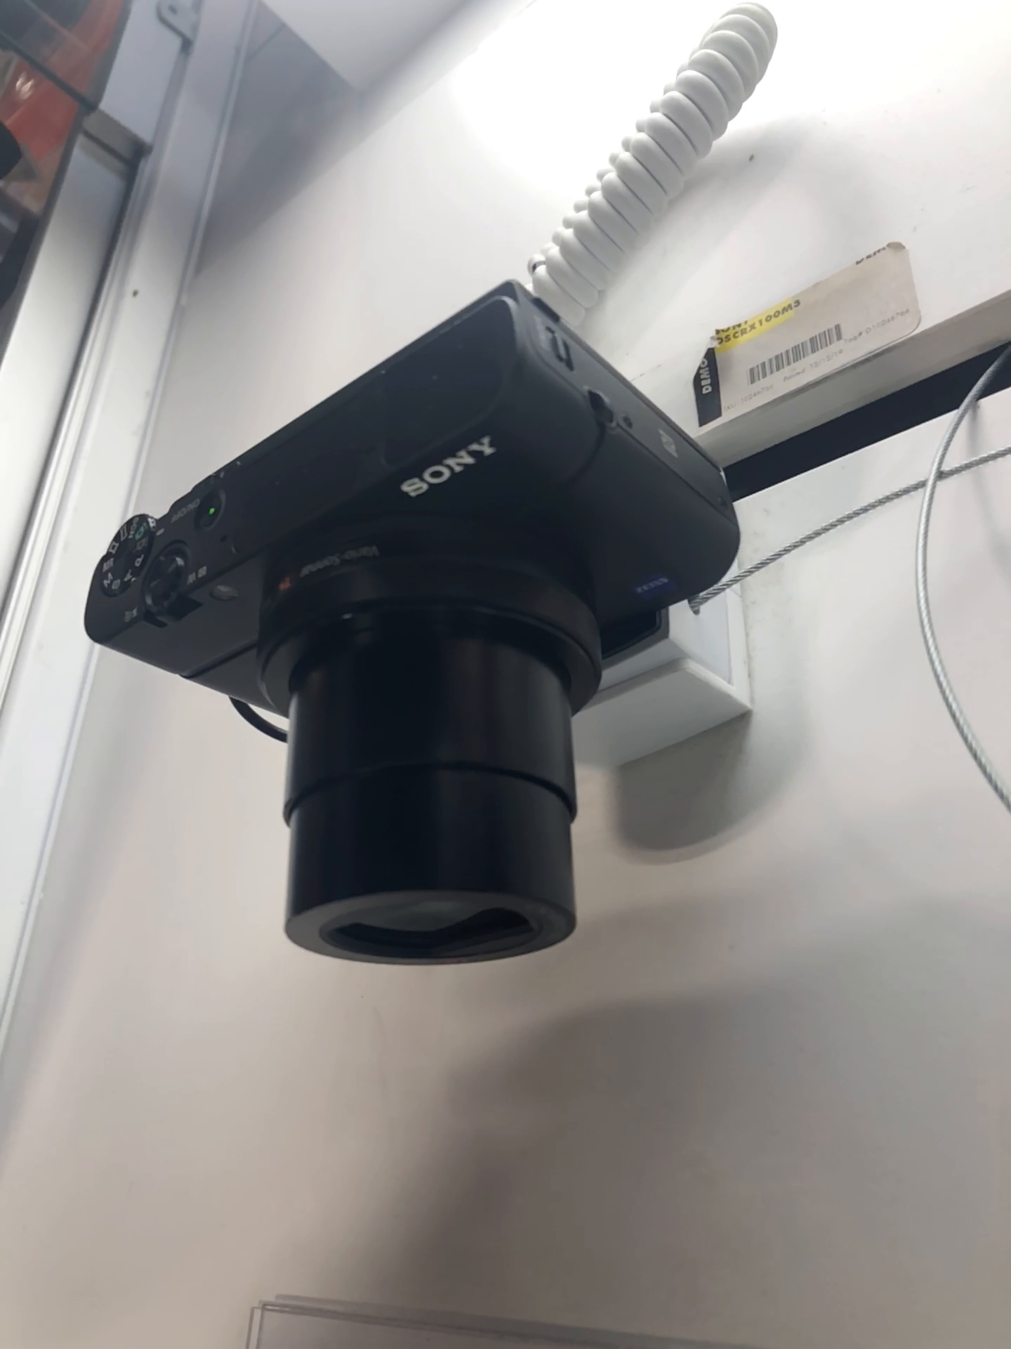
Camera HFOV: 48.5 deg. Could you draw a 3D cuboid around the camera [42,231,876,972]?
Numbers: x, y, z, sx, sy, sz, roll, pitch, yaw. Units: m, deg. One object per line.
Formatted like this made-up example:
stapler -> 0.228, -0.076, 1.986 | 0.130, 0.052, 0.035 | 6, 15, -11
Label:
camera -> -0.008, 0.001, 0.186 | 0.105, 0.074, 0.070 | -20, 54, 38
